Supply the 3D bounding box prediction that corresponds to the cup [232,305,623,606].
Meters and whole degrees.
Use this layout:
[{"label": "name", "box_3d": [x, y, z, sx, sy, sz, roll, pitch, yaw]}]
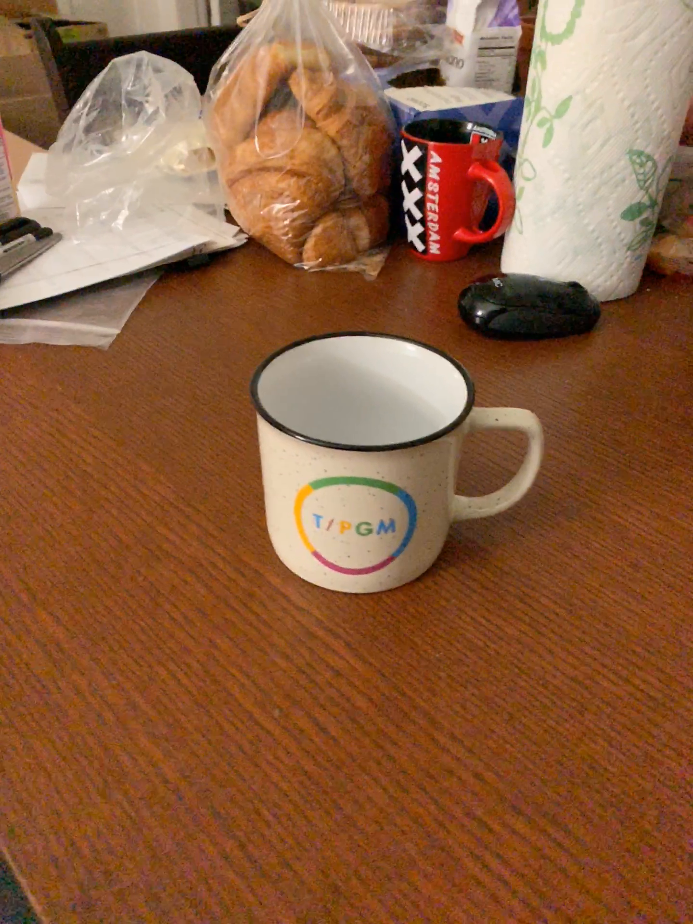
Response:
[{"label": "cup", "box_3d": [0.031, -0.005, 0.345, 0.150, 0.099, 0.101, 2, 38, 1]}]
